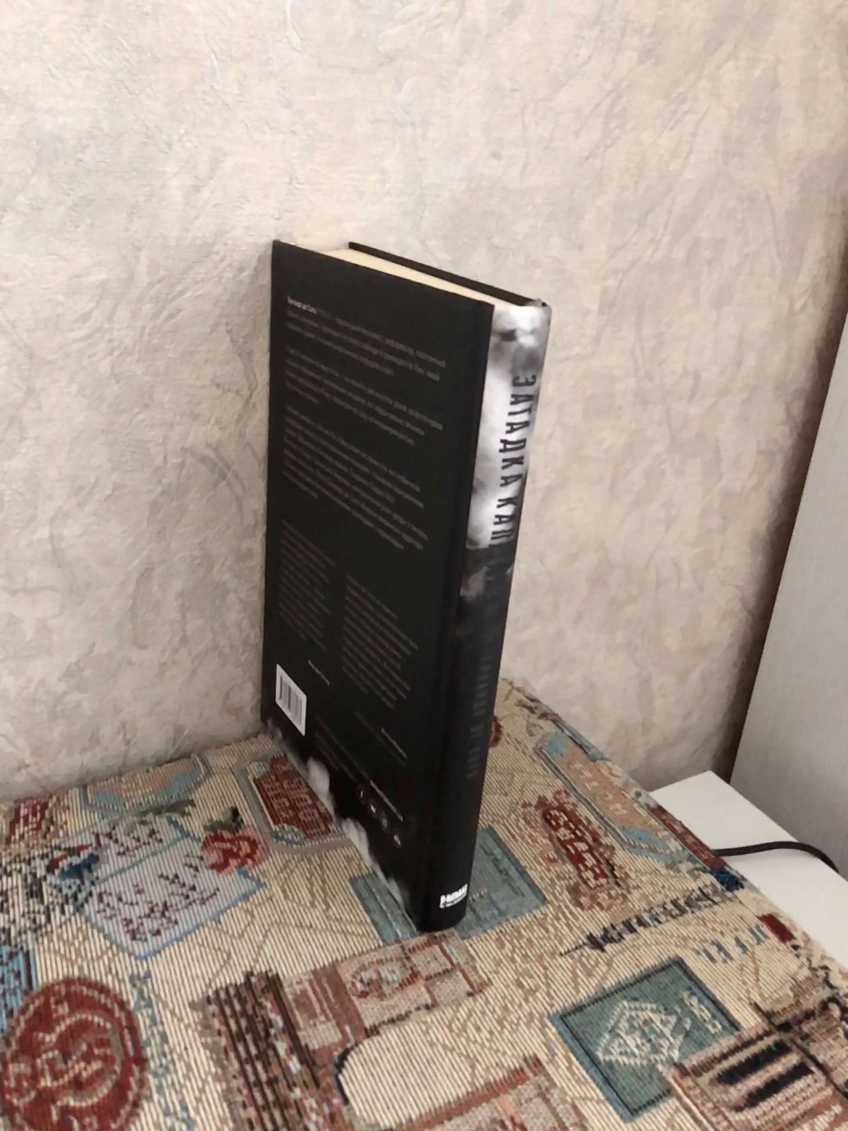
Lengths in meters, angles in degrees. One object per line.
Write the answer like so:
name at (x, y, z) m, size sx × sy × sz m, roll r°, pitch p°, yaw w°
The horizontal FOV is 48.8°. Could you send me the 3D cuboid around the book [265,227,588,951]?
book at (-0.015, 0.001, 0.317) m, size 0.035 × 0.200 × 0.138 m, roll -8°, pitch 28°, yaw -26°
